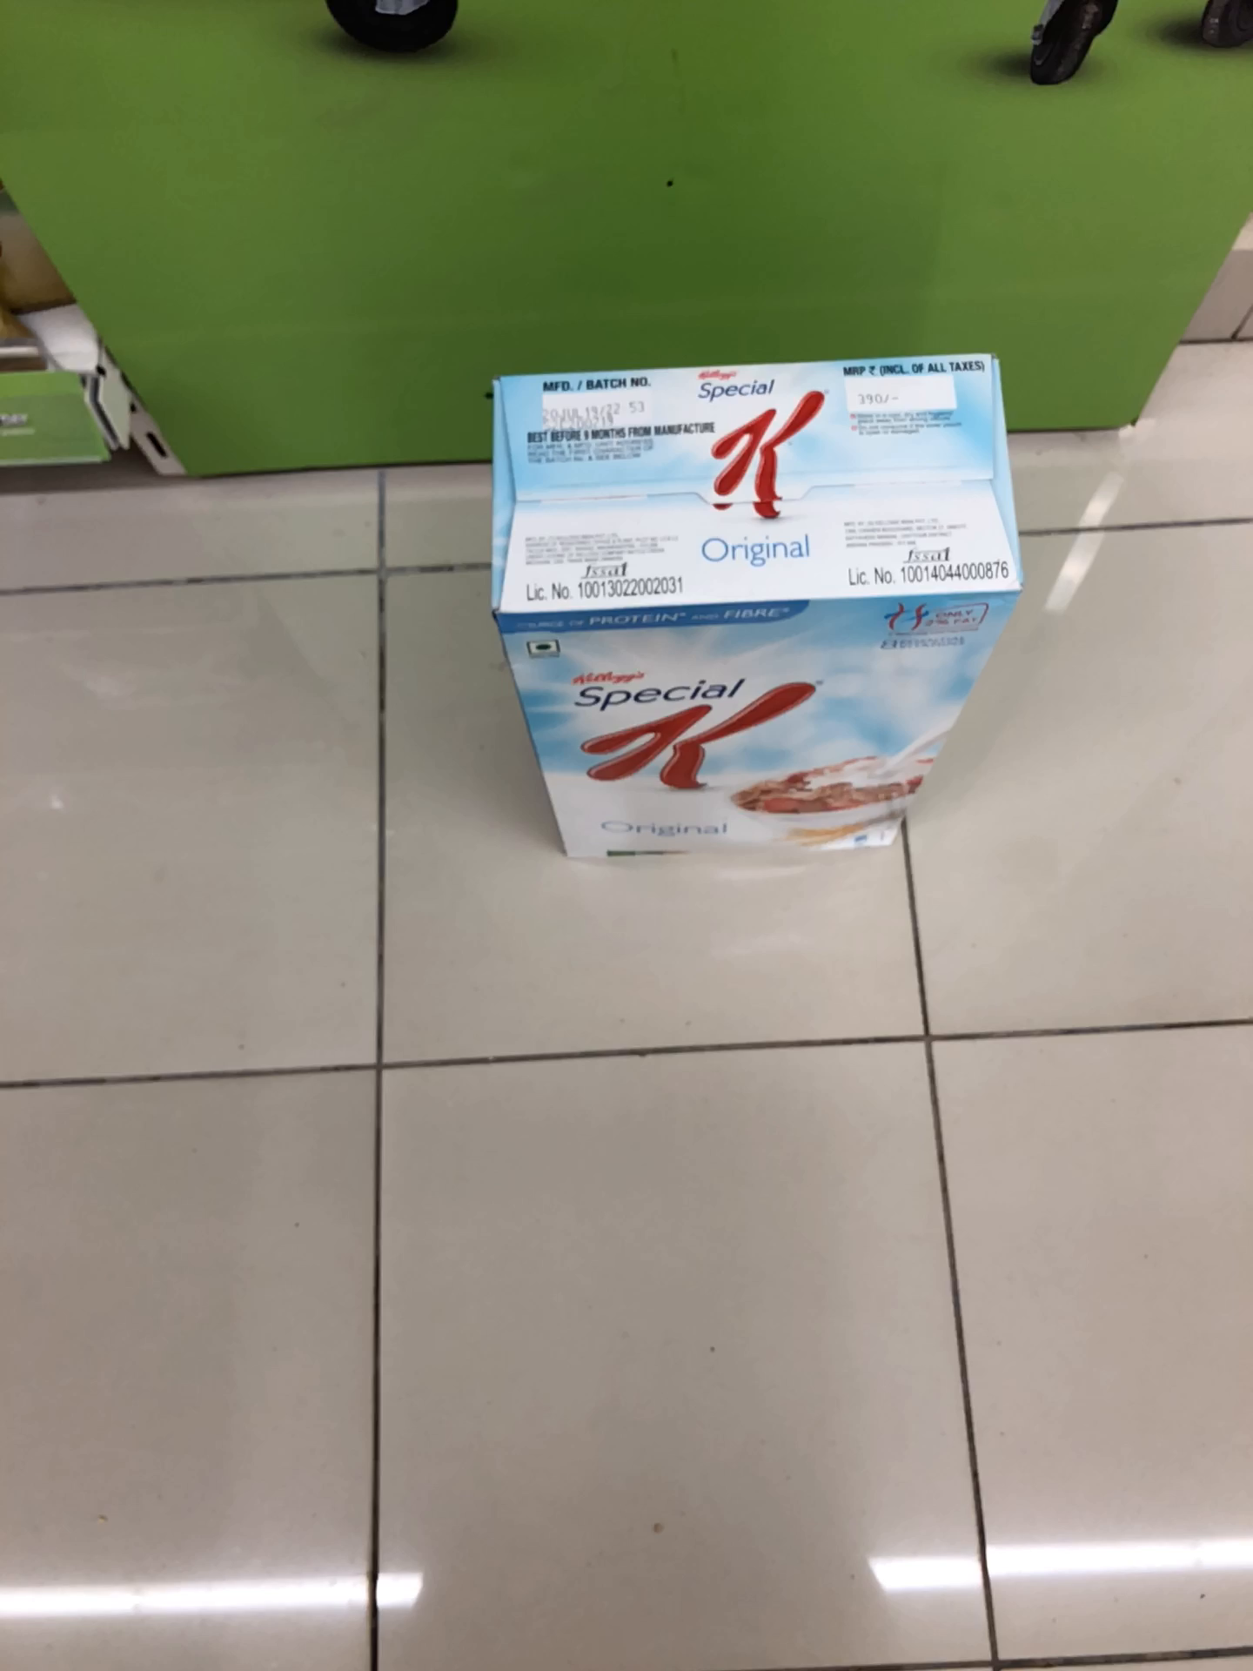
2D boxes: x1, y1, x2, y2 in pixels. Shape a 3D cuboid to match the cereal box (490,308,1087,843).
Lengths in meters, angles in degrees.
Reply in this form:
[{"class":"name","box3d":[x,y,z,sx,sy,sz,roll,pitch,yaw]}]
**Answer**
[{"class":"cereal box","box3d":[0.057,-0.092,0.629,0.200,0.309,0.100,-3,73,1]}]
